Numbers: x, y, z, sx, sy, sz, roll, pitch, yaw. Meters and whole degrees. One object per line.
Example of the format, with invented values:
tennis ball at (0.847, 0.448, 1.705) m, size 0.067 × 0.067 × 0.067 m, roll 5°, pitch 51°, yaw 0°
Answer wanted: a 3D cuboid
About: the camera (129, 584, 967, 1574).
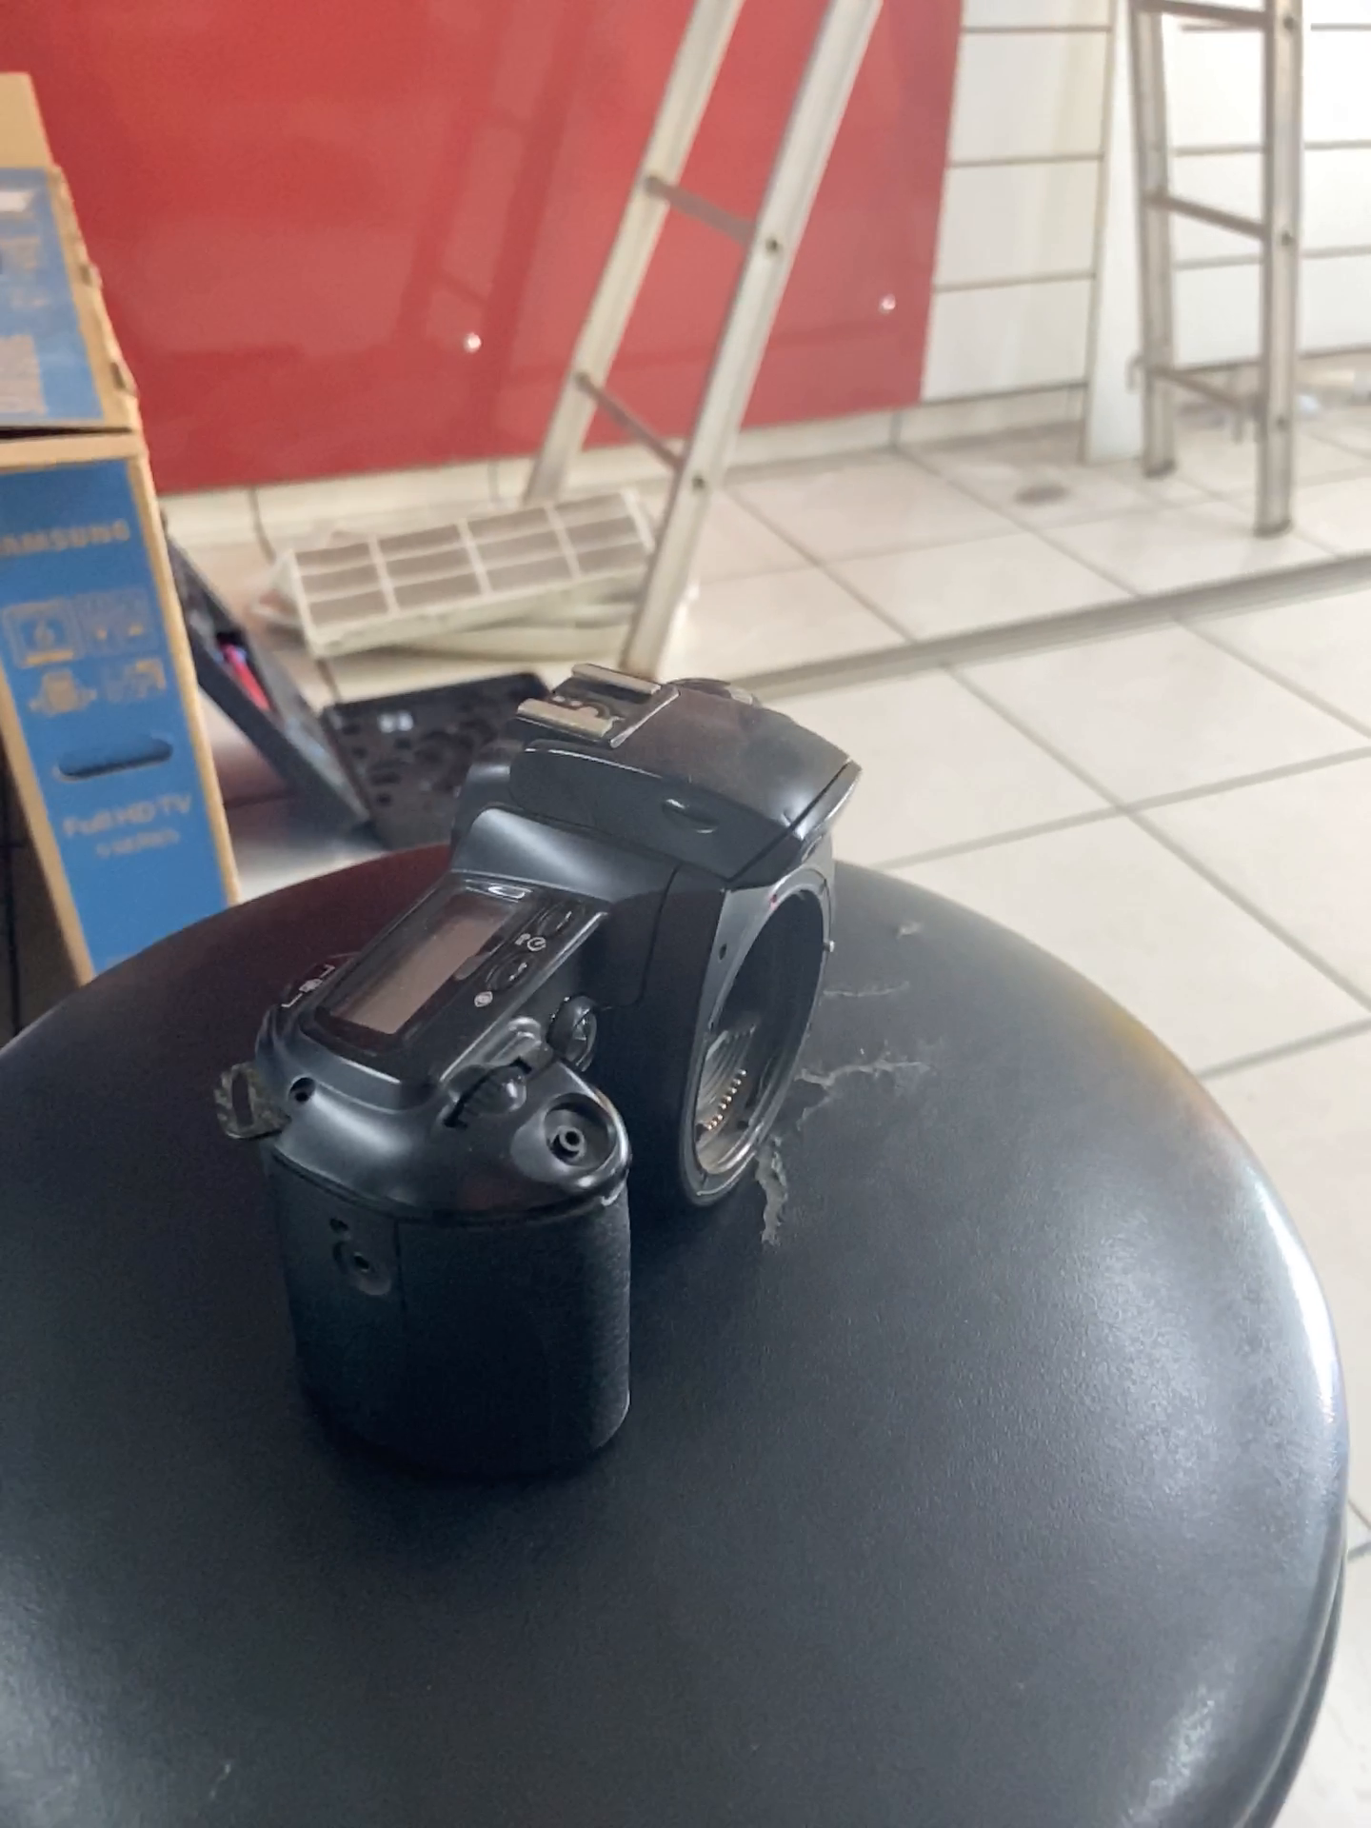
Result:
camera at (-0.010, 0.016, 0.249) m, size 0.070 × 0.089 × 0.141 m, roll 16°, pitch 38°, yaw 20°
